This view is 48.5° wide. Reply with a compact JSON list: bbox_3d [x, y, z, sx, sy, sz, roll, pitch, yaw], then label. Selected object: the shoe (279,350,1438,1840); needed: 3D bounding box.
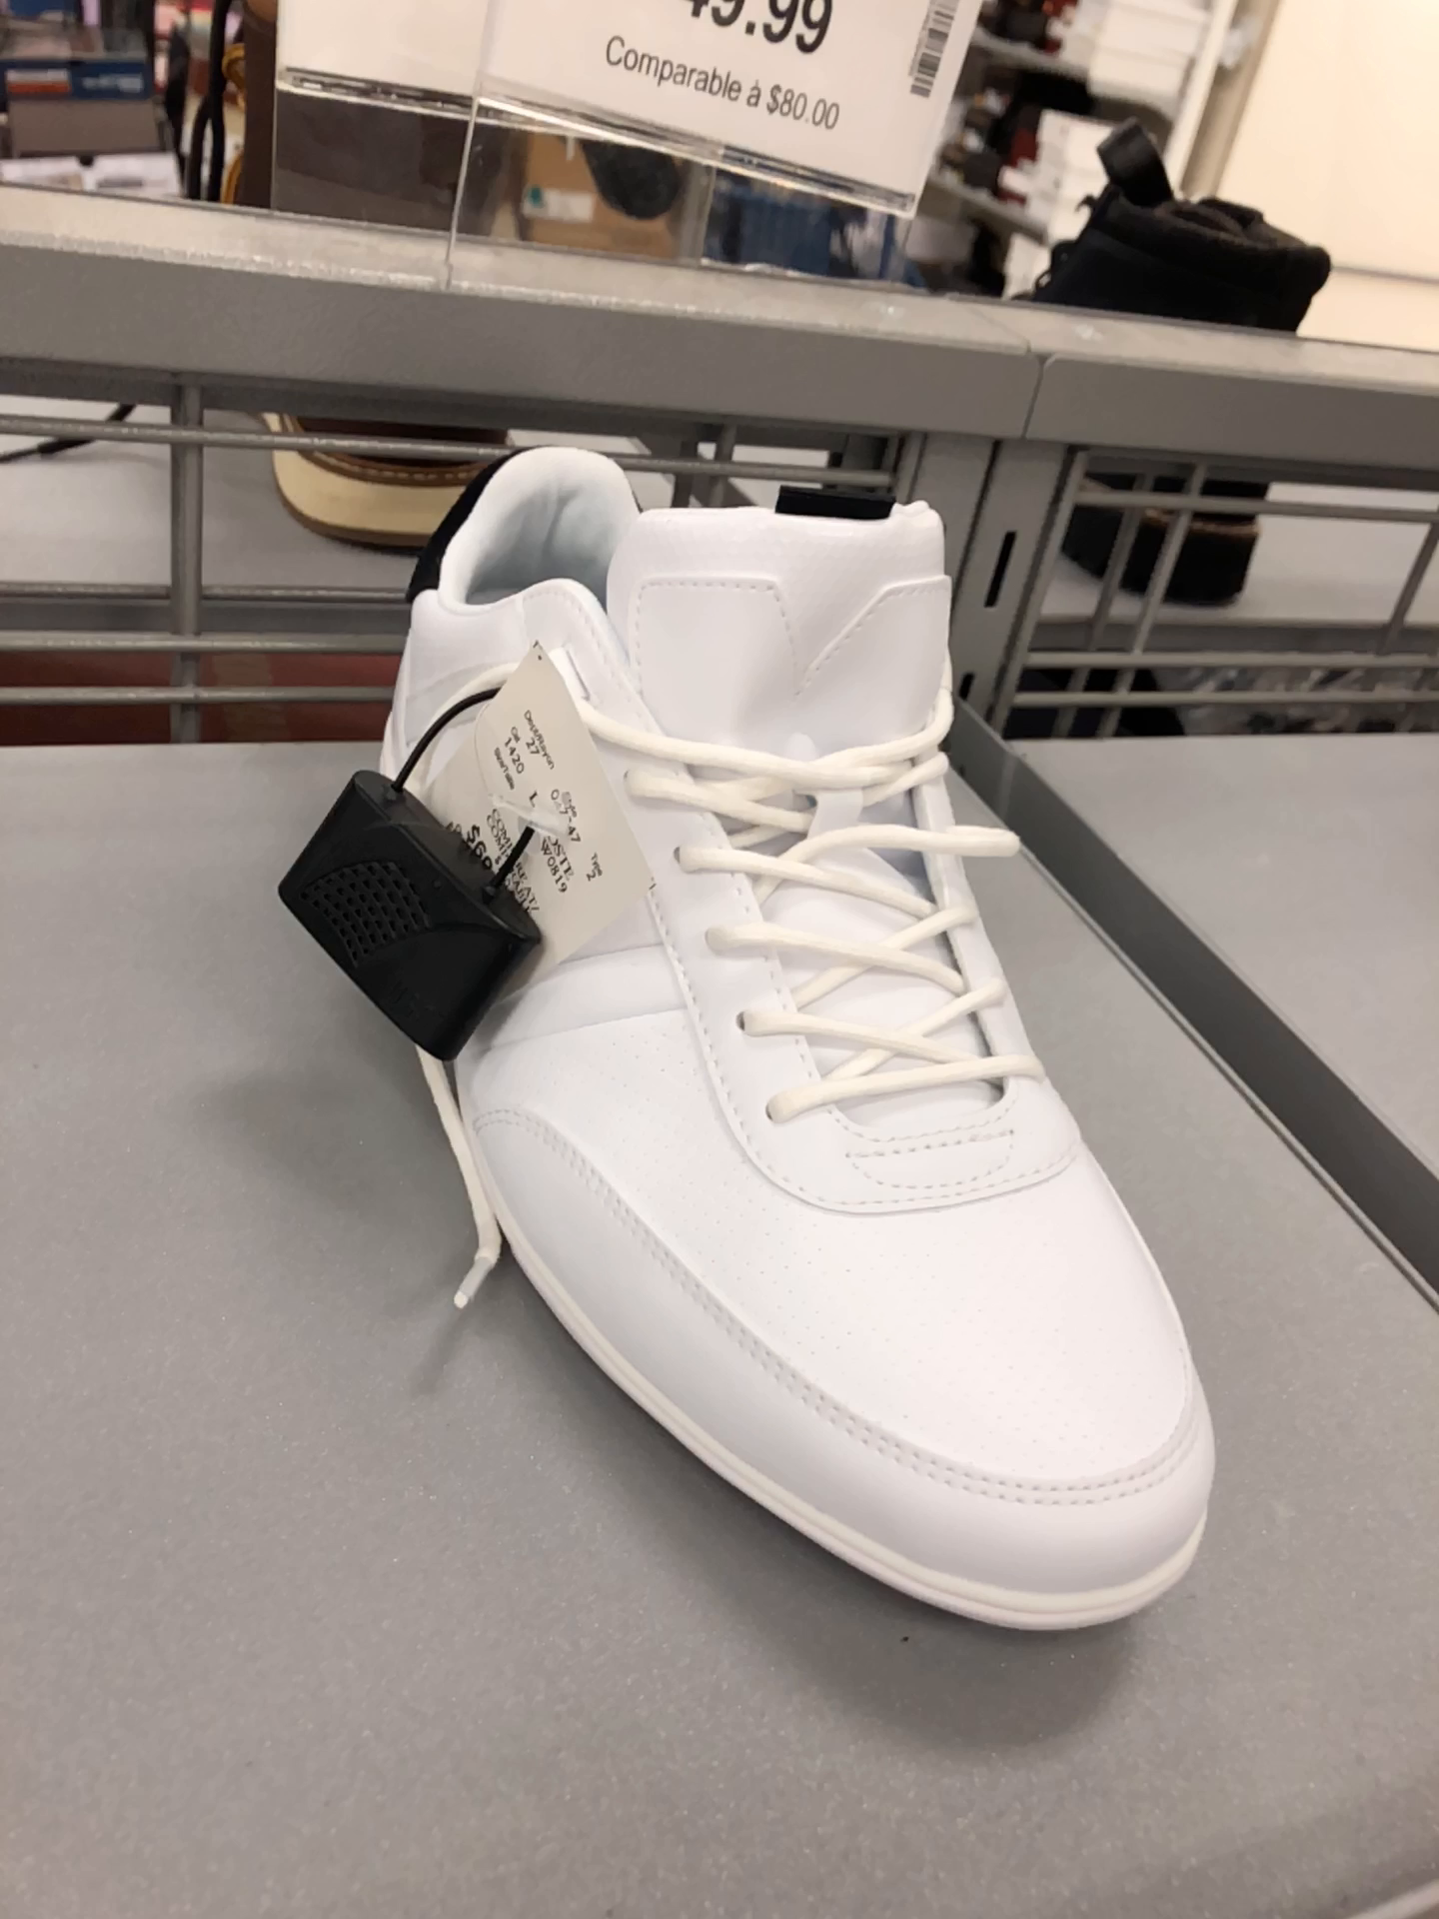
[{"bbox_3d":[0.007,-0.012,0.306,0.110,0.119,0.272,-7,38,-28],"label":"shoe"}]
